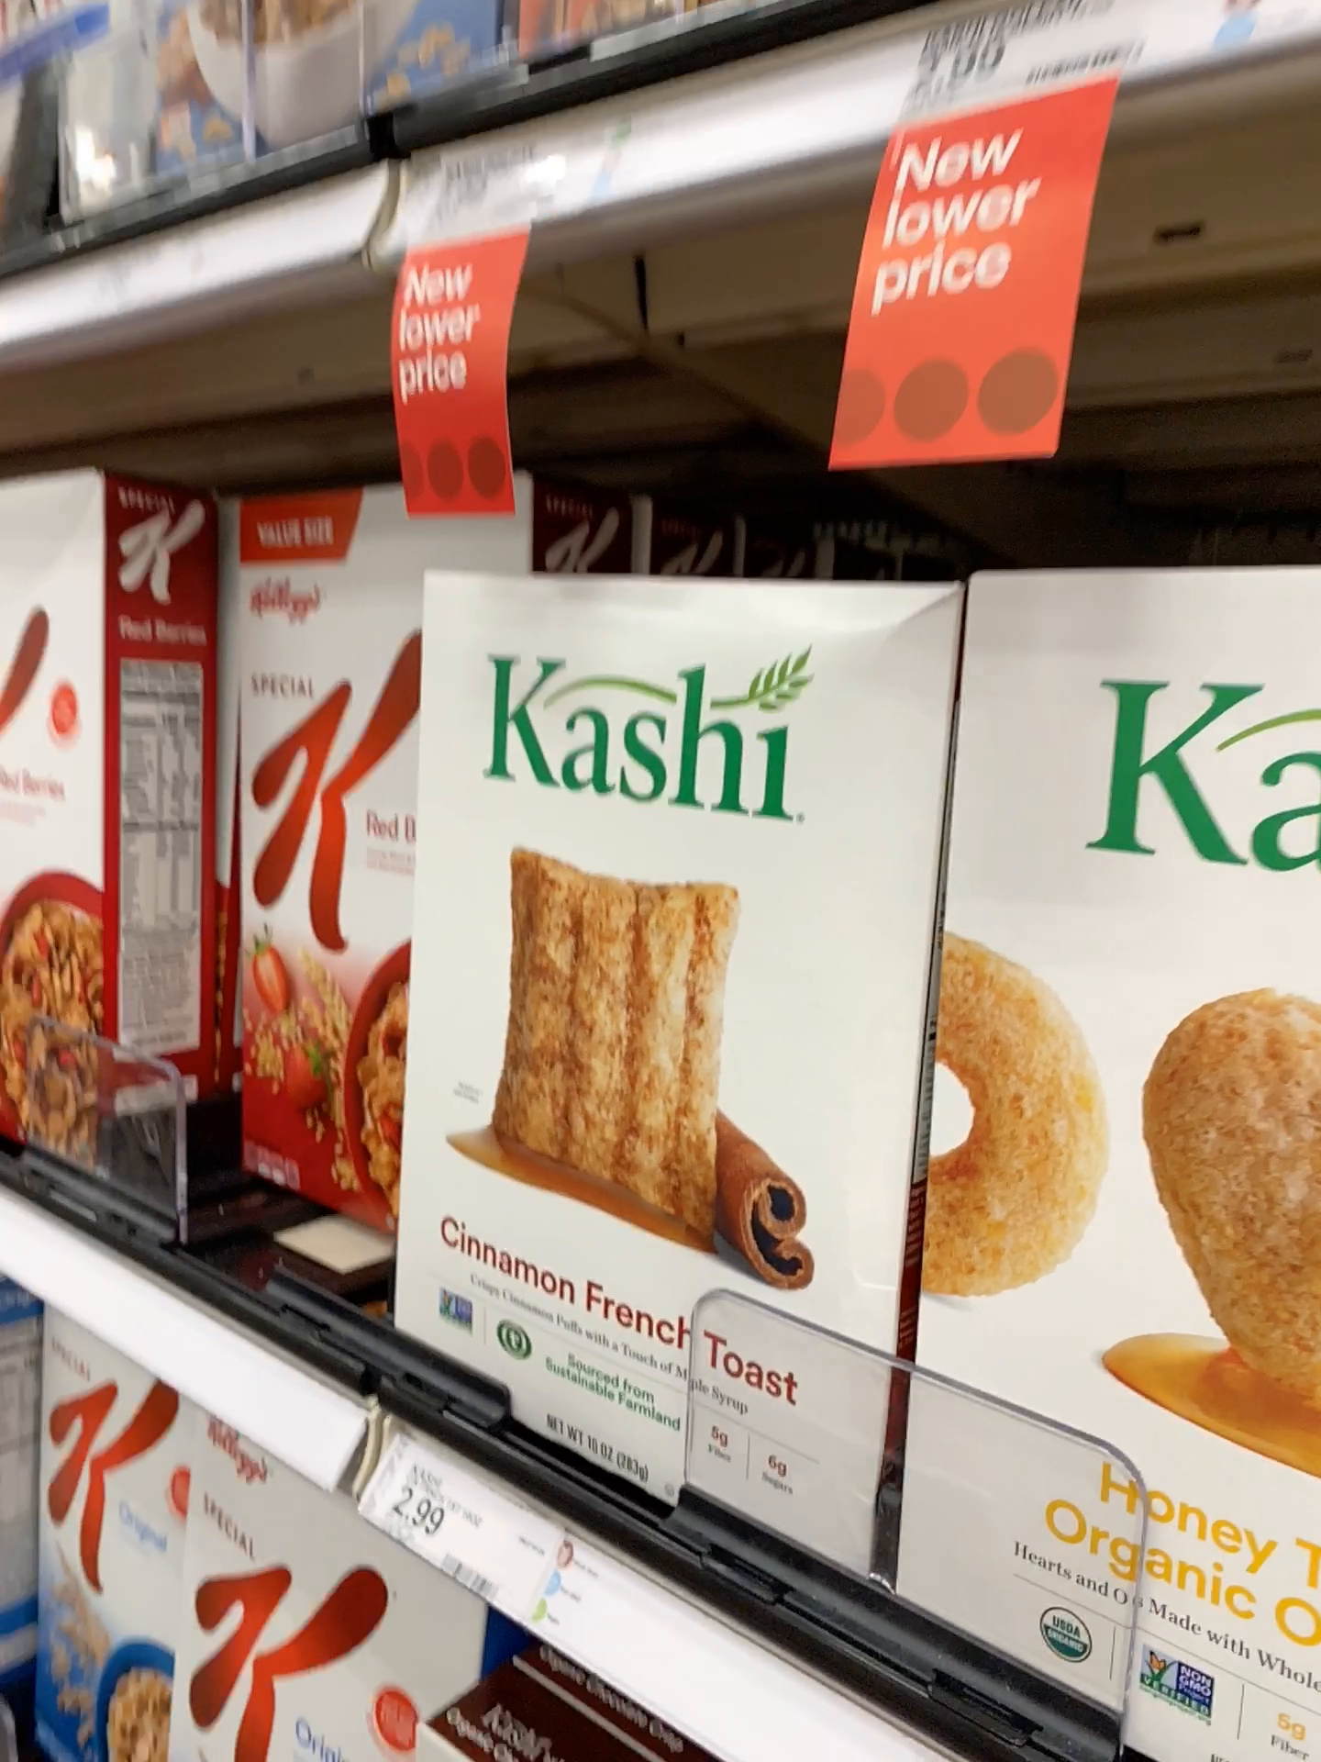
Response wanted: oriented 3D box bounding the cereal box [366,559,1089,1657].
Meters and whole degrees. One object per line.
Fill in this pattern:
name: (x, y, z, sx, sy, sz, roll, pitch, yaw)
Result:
cereal box: (0.004, 0.045, 0.416, 0.210, 0.270, 0.060, 10, 9, 40)
